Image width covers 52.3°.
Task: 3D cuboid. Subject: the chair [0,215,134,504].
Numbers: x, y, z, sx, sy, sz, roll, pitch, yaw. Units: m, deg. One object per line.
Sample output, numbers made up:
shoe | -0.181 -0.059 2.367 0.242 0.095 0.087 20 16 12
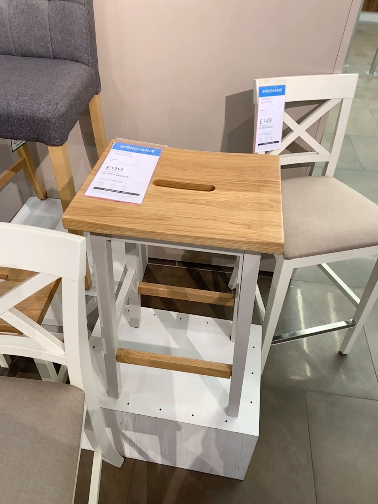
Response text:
chair | -0.388 0.473 0.754 0.437 0.955 0.506 2 42 0

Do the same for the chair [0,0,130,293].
chair | -0.515 -0.430 1.219 0.467 0.984 0.536 6 42 4

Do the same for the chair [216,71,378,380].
chair | 0.411 -0.062 1.389 0.417 0.945 0.516 -9 43 -13

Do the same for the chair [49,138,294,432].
chair | -0.022 0.109 0.946 0.397 0.638 0.324 7 42 5
